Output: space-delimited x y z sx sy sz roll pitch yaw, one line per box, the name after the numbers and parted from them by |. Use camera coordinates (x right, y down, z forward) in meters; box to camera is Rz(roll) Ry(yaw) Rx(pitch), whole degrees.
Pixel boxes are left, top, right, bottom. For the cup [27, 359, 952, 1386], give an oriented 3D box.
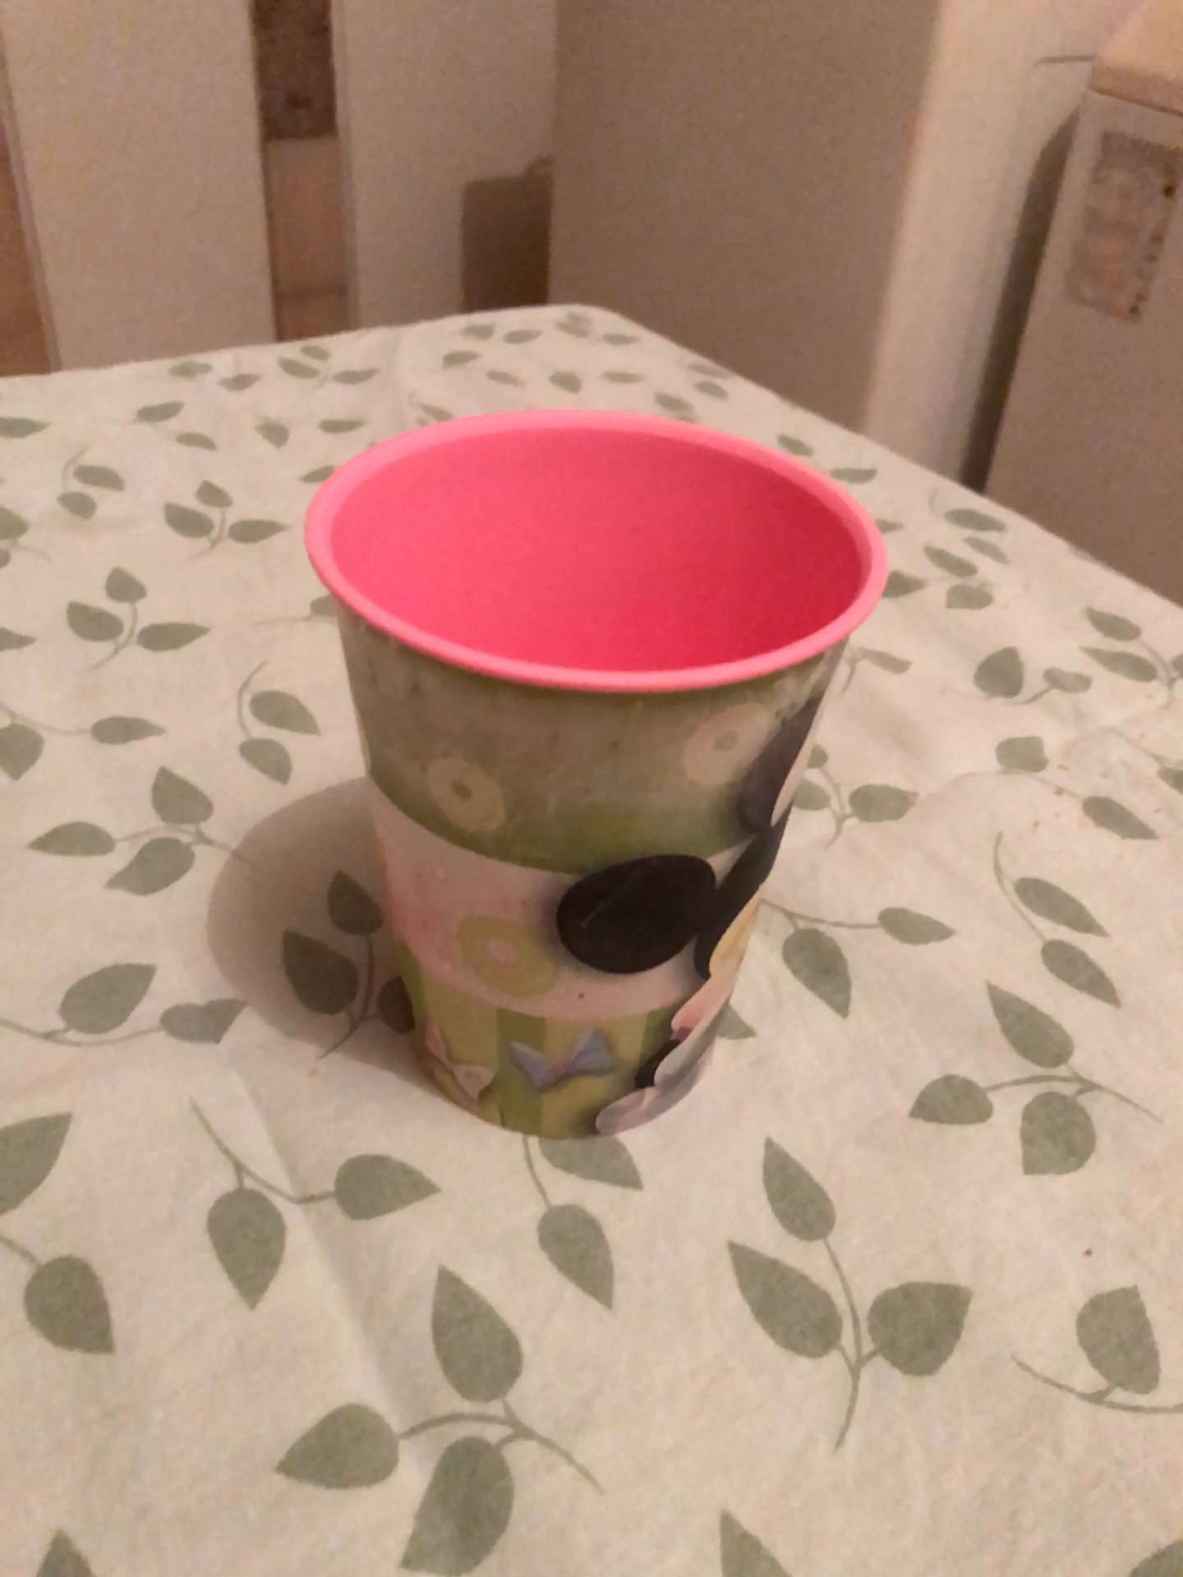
-0.013 0.008 0.234 0.100 0.119 0.101 3 38 -2 | cup
